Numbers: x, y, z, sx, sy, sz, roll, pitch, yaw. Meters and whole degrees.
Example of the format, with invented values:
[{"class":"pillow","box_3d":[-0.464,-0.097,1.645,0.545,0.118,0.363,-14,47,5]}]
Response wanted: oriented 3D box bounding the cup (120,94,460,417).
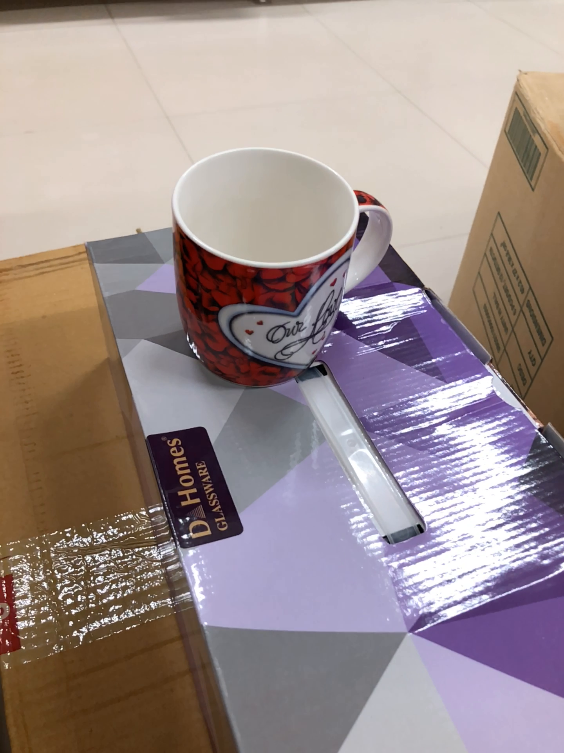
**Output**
[{"class":"cup","box_3d":[0.002,-0.067,0.325,0.131,0.099,0.090,-25,53,-25]}]
